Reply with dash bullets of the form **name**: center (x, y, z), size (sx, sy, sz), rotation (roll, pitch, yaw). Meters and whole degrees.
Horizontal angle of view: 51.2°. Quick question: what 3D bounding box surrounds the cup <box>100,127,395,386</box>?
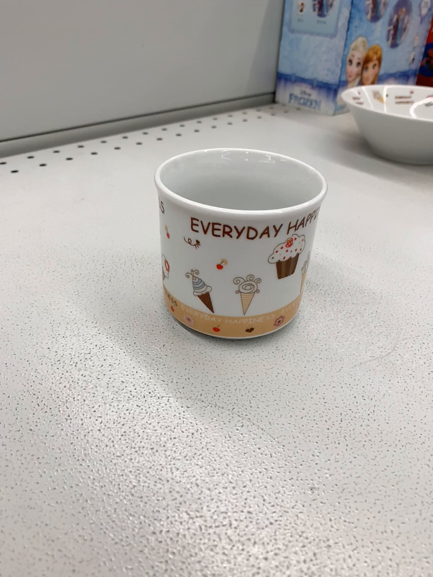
- **cup**: center (0.015, -0.026, 0.222), size (0.109, 0.069, 0.079), rotation (-26, 44, -35)
